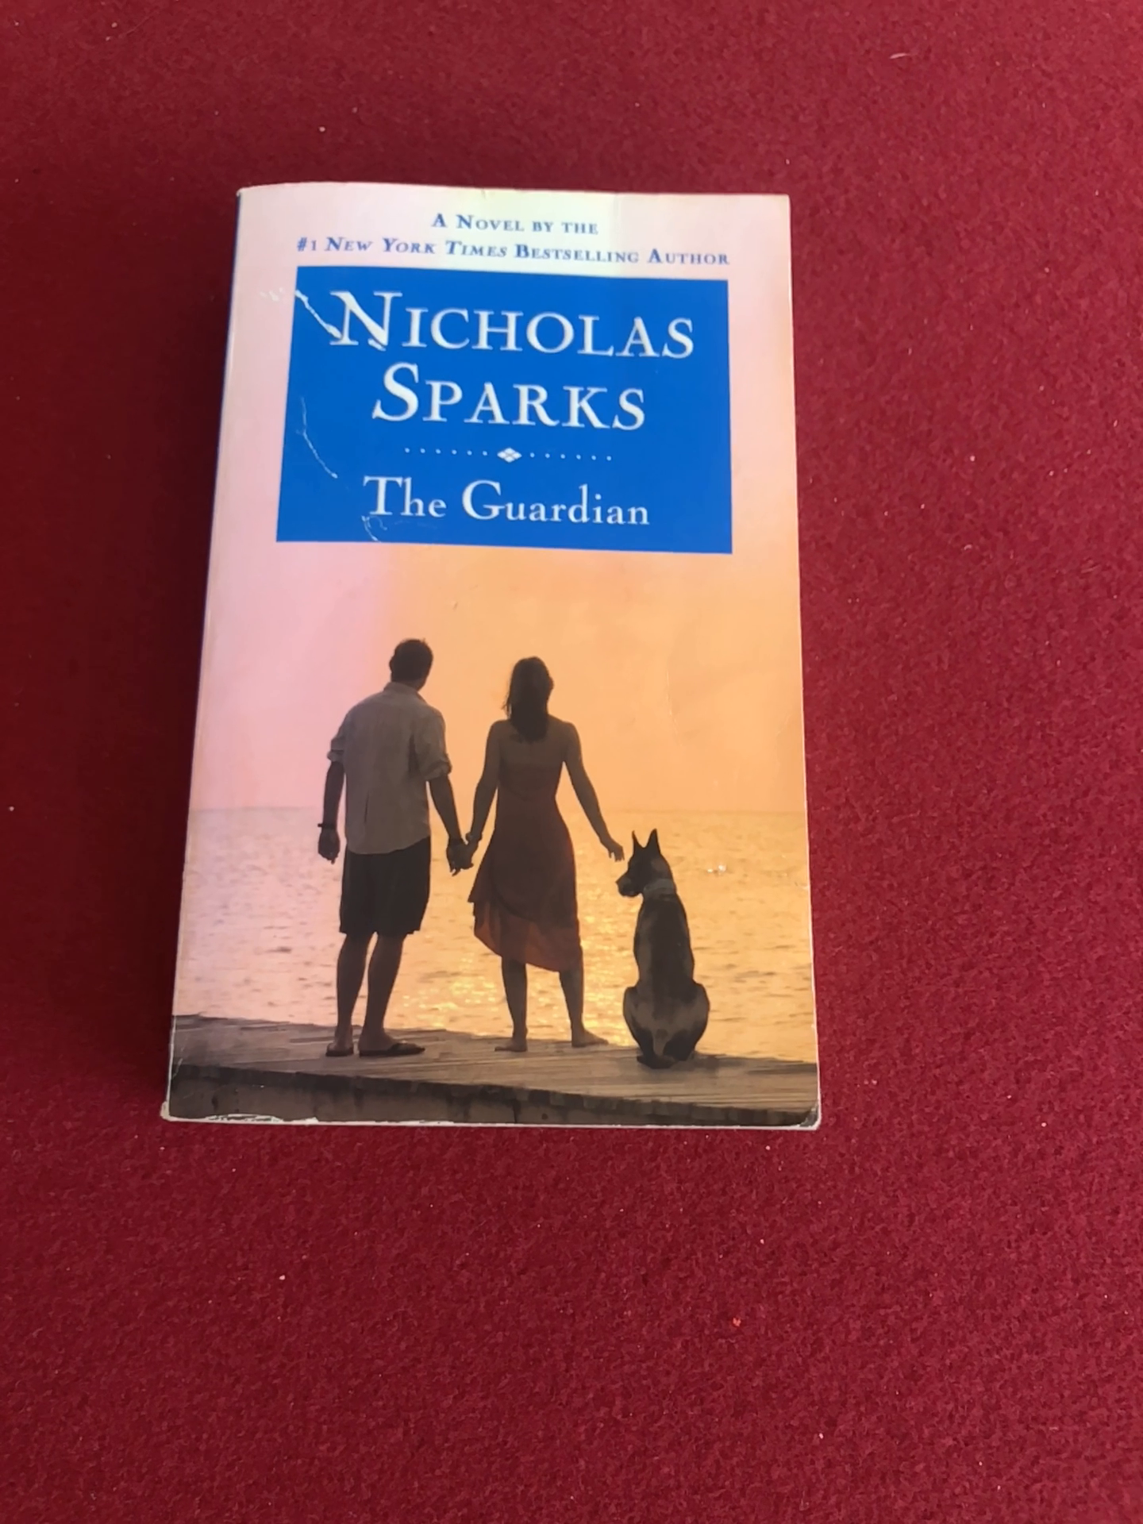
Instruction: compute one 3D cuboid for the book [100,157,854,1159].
[{"bbox_3d":[-0.011,-0.021,0.223,0.110,0.030,0.170,2,74,-2],"label":"book"}]
